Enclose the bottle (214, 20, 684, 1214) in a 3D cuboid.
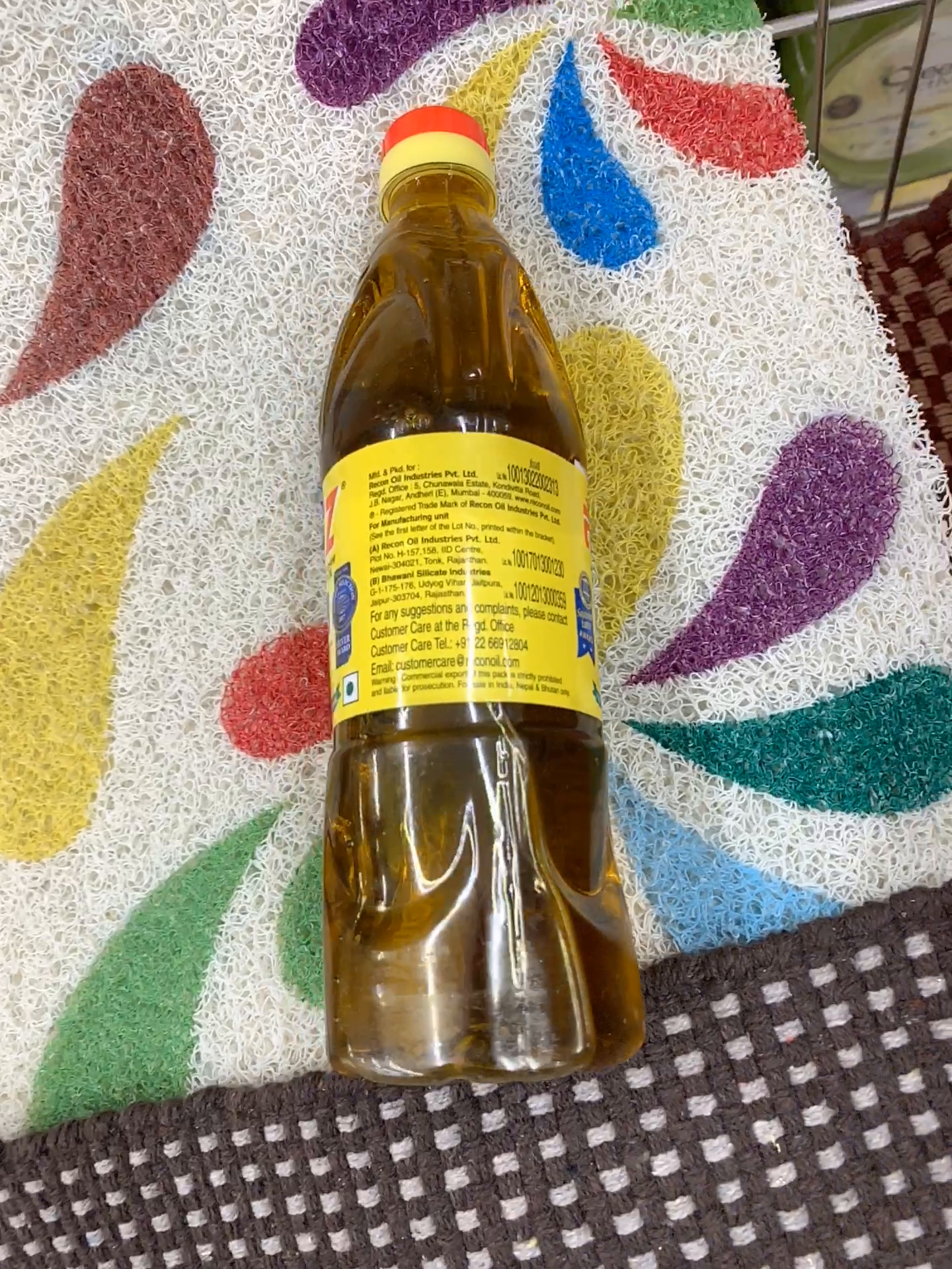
[{"bbox_3d":[-0.006,-0.008,0.193,0.070,0.060,0.200,-2,80,1],"label":"bottle"}]
